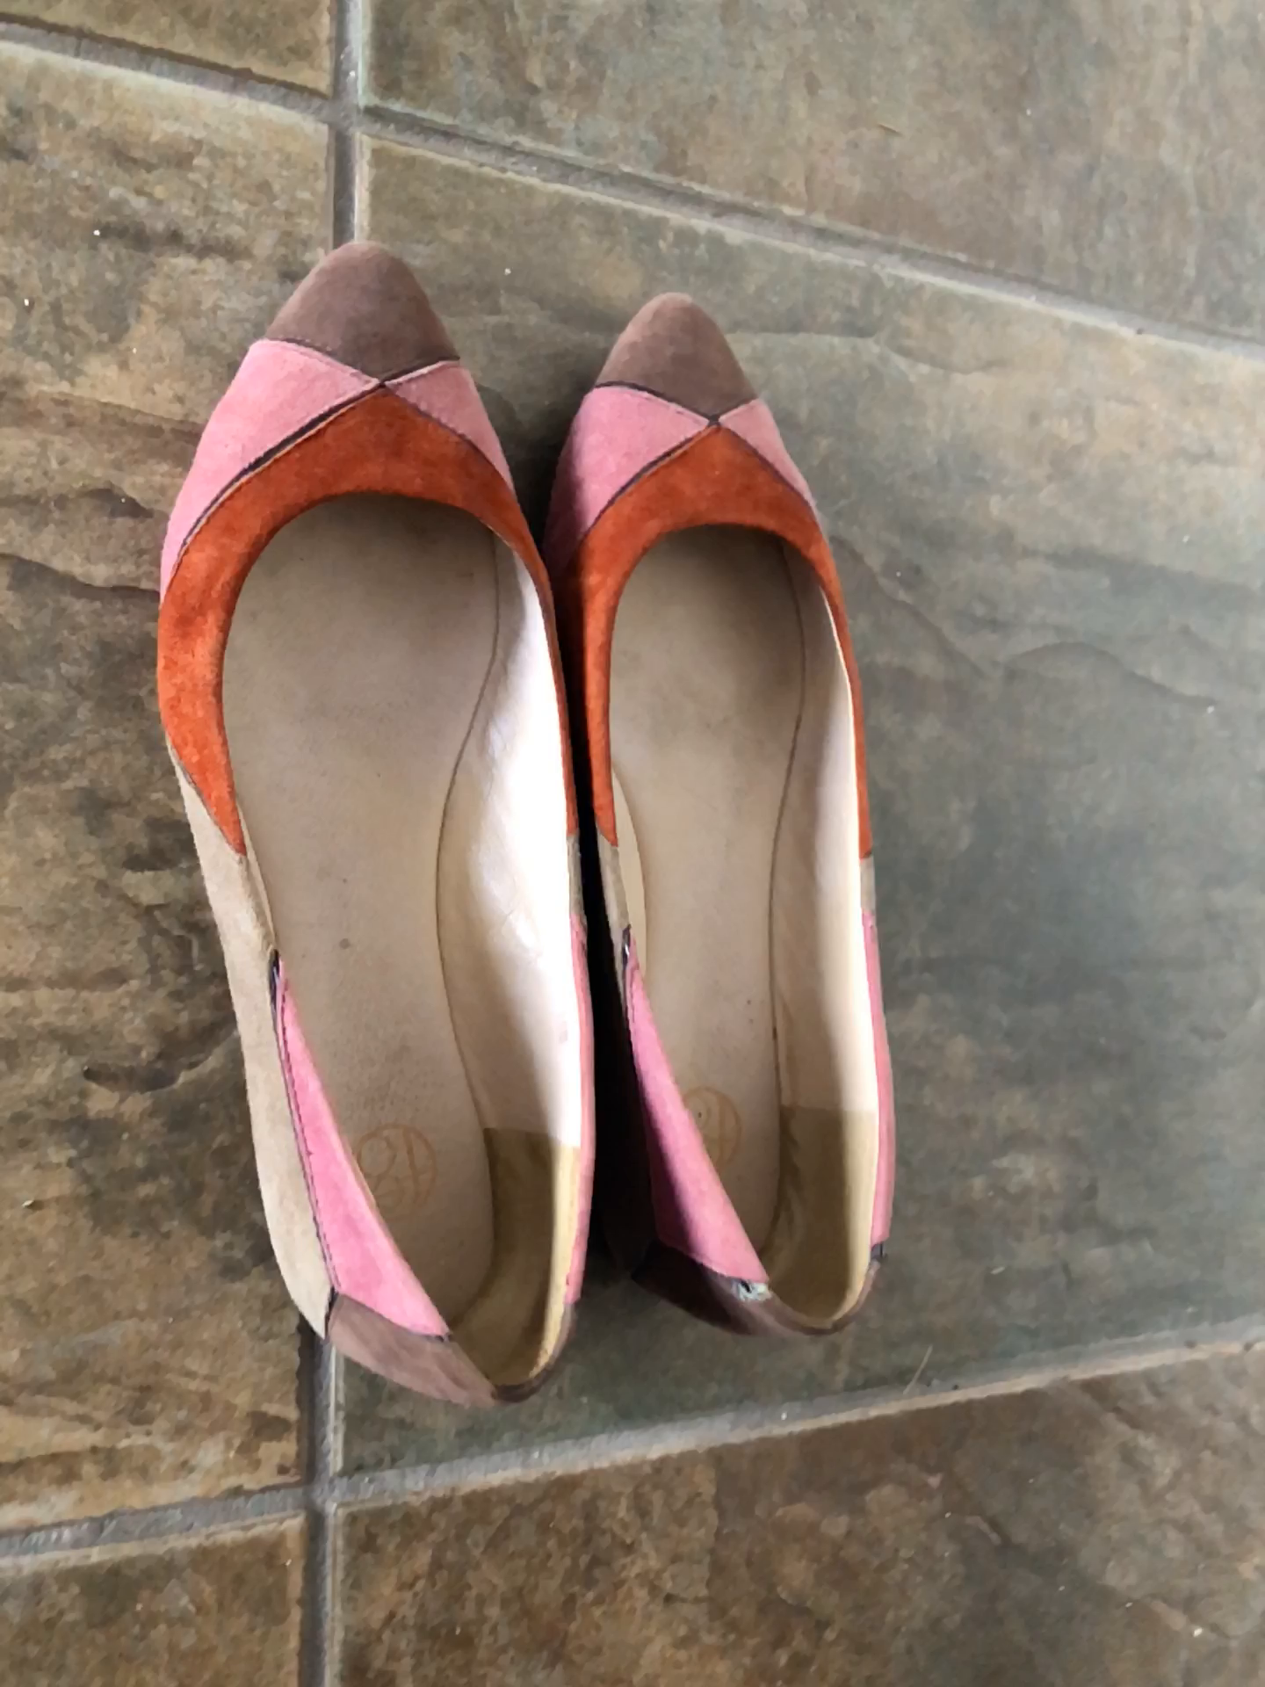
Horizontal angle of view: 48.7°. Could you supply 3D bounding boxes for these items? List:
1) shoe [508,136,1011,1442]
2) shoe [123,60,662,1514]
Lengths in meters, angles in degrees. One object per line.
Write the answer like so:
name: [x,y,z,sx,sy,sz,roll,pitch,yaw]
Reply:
shoe: [0.028,-0.012,0.339,0.090,0.070,0.270,-1,89,-25]
shoe: [-0.056,-0.012,0.310,0.090,0.070,0.270,-3,89,-25]
